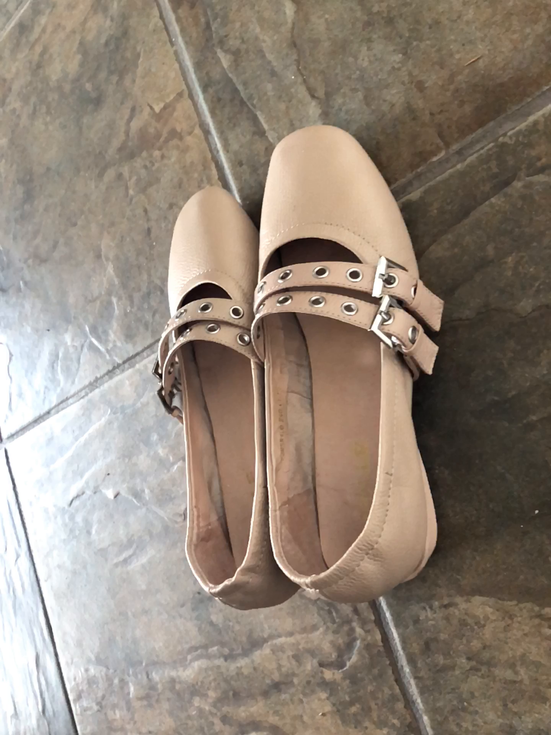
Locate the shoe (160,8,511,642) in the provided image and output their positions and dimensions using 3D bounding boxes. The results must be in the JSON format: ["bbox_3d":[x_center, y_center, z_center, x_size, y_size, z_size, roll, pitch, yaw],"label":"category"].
[{"bbox_3d":[0.028,-0.015,0.296,0.090,0.090,0.250,-15,84,36],"label":"shoe"}]

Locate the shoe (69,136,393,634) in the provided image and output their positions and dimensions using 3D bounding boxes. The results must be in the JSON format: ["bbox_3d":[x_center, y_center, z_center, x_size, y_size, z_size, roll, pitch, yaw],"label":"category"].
[{"bbox_3d":[-0.030,0.012,0.363,0.100,0.090,0.250,-22,80,36],"label":"shoe"}]
